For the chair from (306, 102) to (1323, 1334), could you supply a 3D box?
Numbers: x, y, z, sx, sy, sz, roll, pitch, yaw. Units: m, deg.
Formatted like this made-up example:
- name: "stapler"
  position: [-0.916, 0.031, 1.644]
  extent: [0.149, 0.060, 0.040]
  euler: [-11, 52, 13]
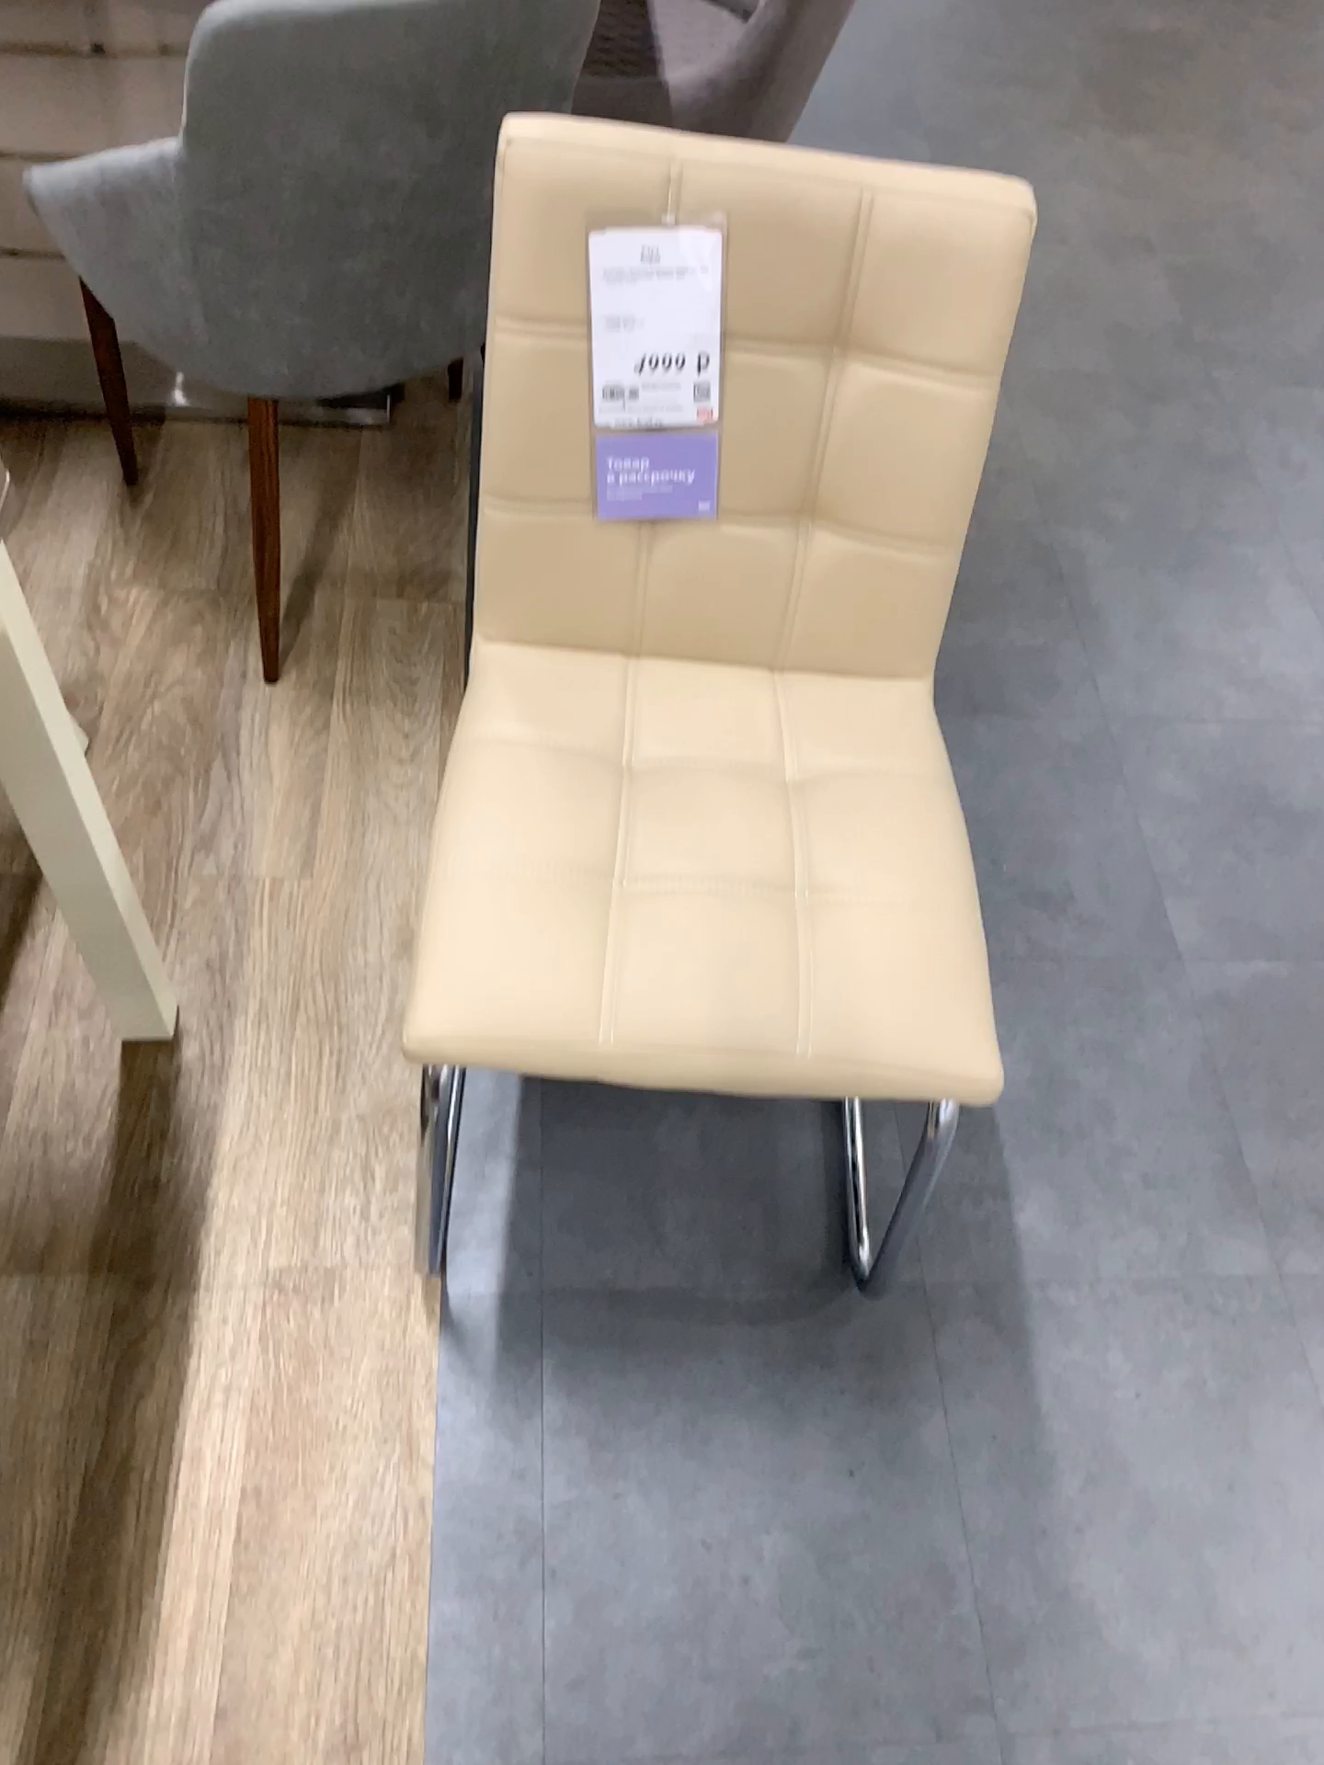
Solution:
- name: "chair"
  position: [0.058, -0.071, 1.191]
  extent: [0.530, 0.817, 0.652]
  euler: [5, 54, -4]
